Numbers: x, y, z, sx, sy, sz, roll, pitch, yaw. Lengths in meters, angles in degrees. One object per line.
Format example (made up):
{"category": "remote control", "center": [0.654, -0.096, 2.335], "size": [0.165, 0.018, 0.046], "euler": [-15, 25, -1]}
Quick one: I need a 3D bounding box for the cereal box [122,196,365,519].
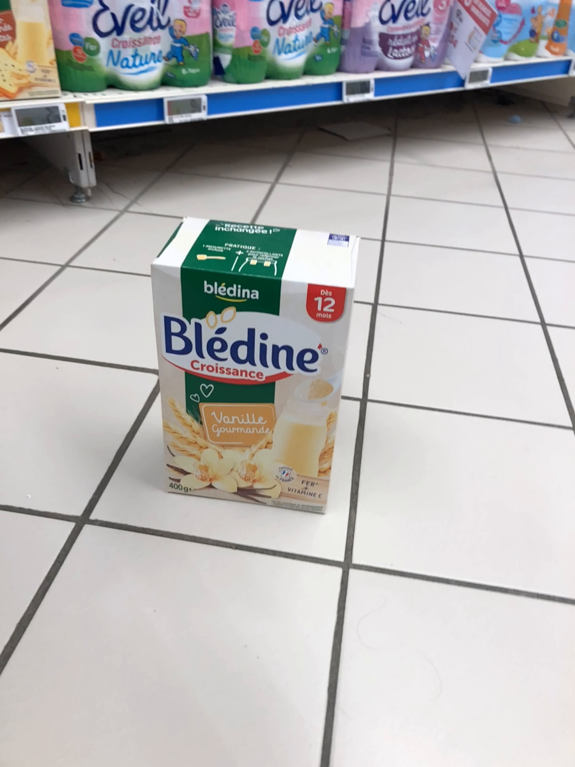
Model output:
{"category": "cereal box", "center": [-0.027, -0.017, 0.467], "size": [0.140, 0.199, 0.101], "euler": [7, 34, 5]}
